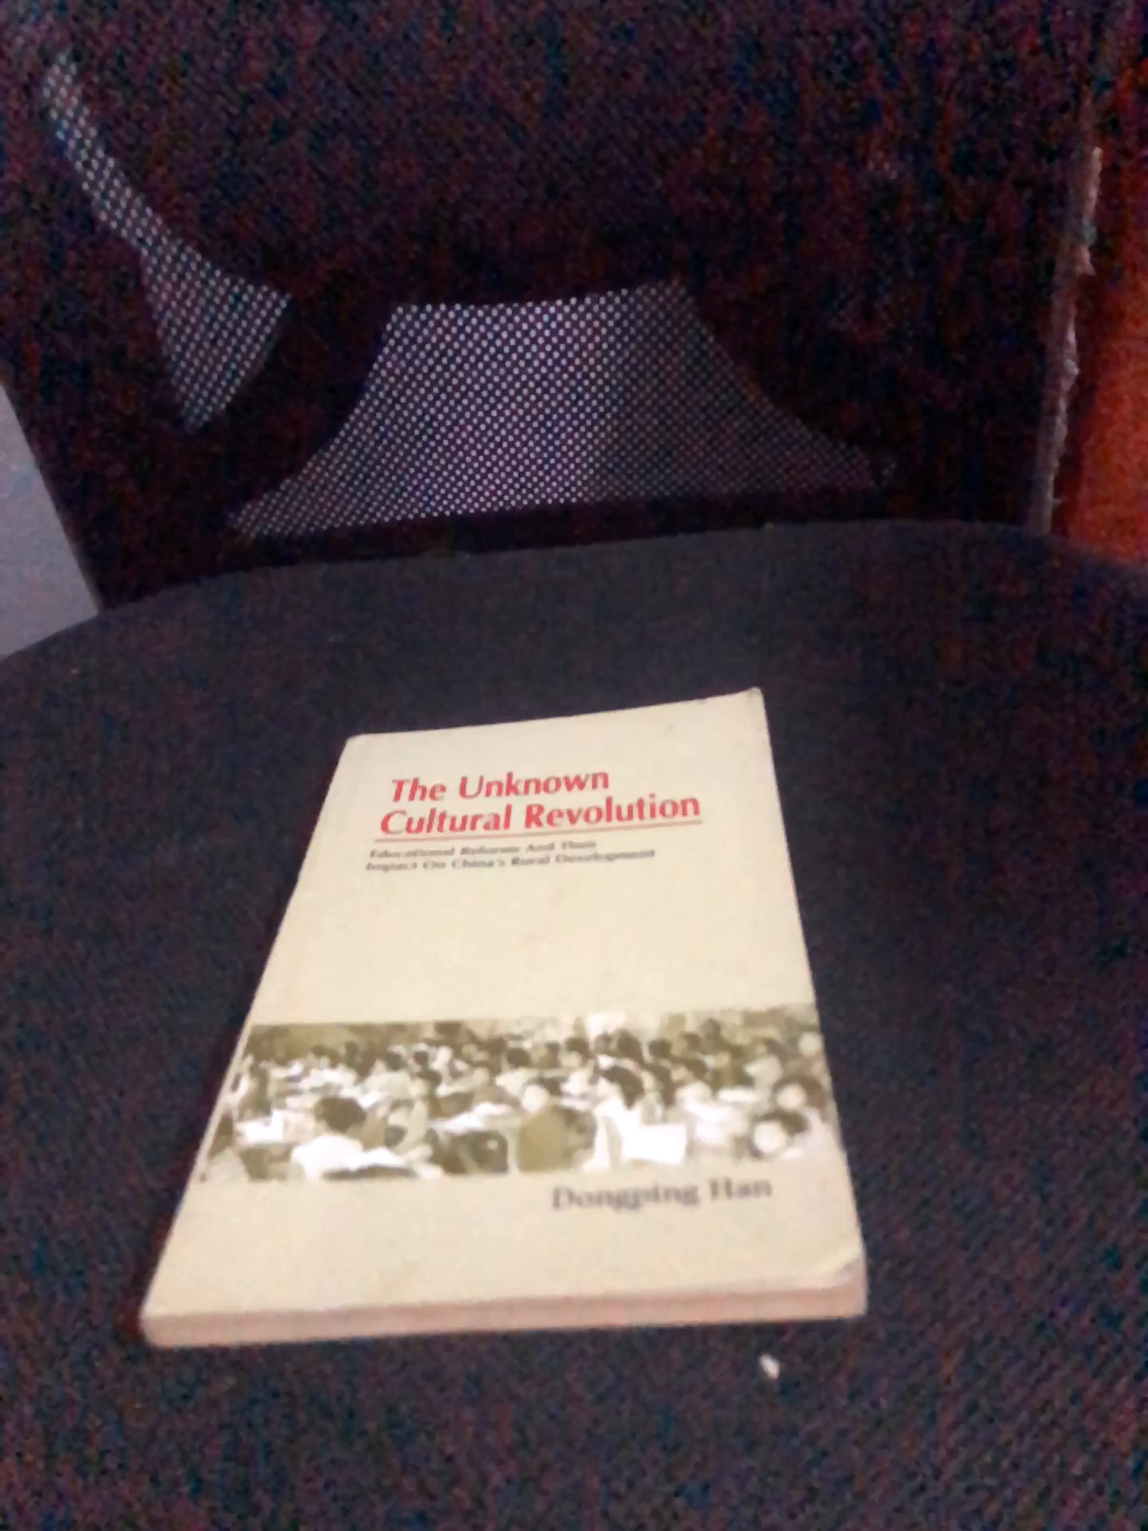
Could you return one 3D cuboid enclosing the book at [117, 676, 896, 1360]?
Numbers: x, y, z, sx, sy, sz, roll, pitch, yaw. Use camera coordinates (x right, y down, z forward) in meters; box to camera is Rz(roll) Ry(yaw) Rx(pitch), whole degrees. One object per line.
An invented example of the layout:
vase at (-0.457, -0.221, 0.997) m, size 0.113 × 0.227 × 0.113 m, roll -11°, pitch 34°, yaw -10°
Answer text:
book at (-0.010, 0.047, 0.336) m, size 0.154 × 0.017 × 0.215 m, roll -5°, pitch 36°, yaw 6°
